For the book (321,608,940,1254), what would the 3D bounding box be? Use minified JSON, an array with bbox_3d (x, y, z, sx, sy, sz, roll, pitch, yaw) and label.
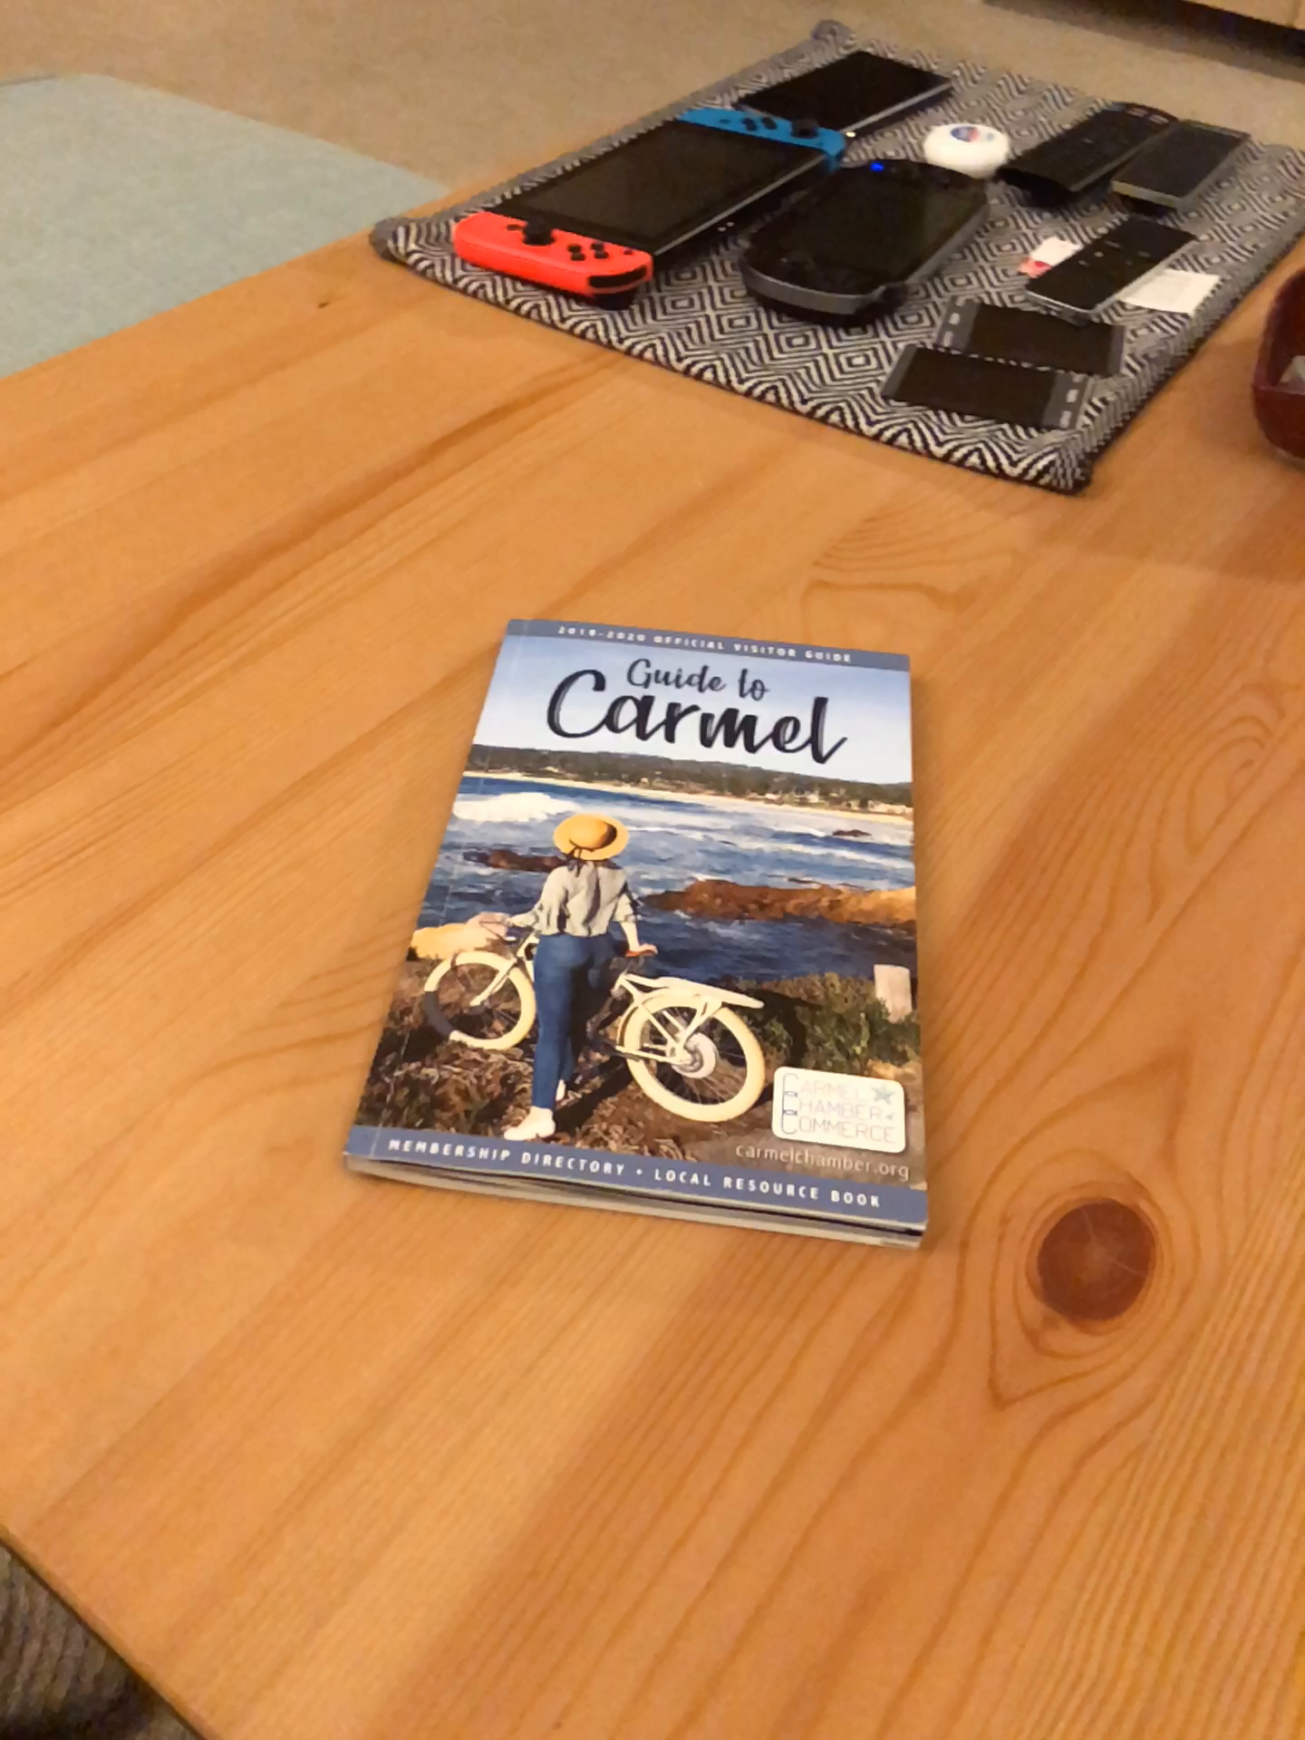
[{"bbox_3d":[0.006,0.001,0.392,0.137,0.010,0.208,7,46,2],"label":"book"}]
